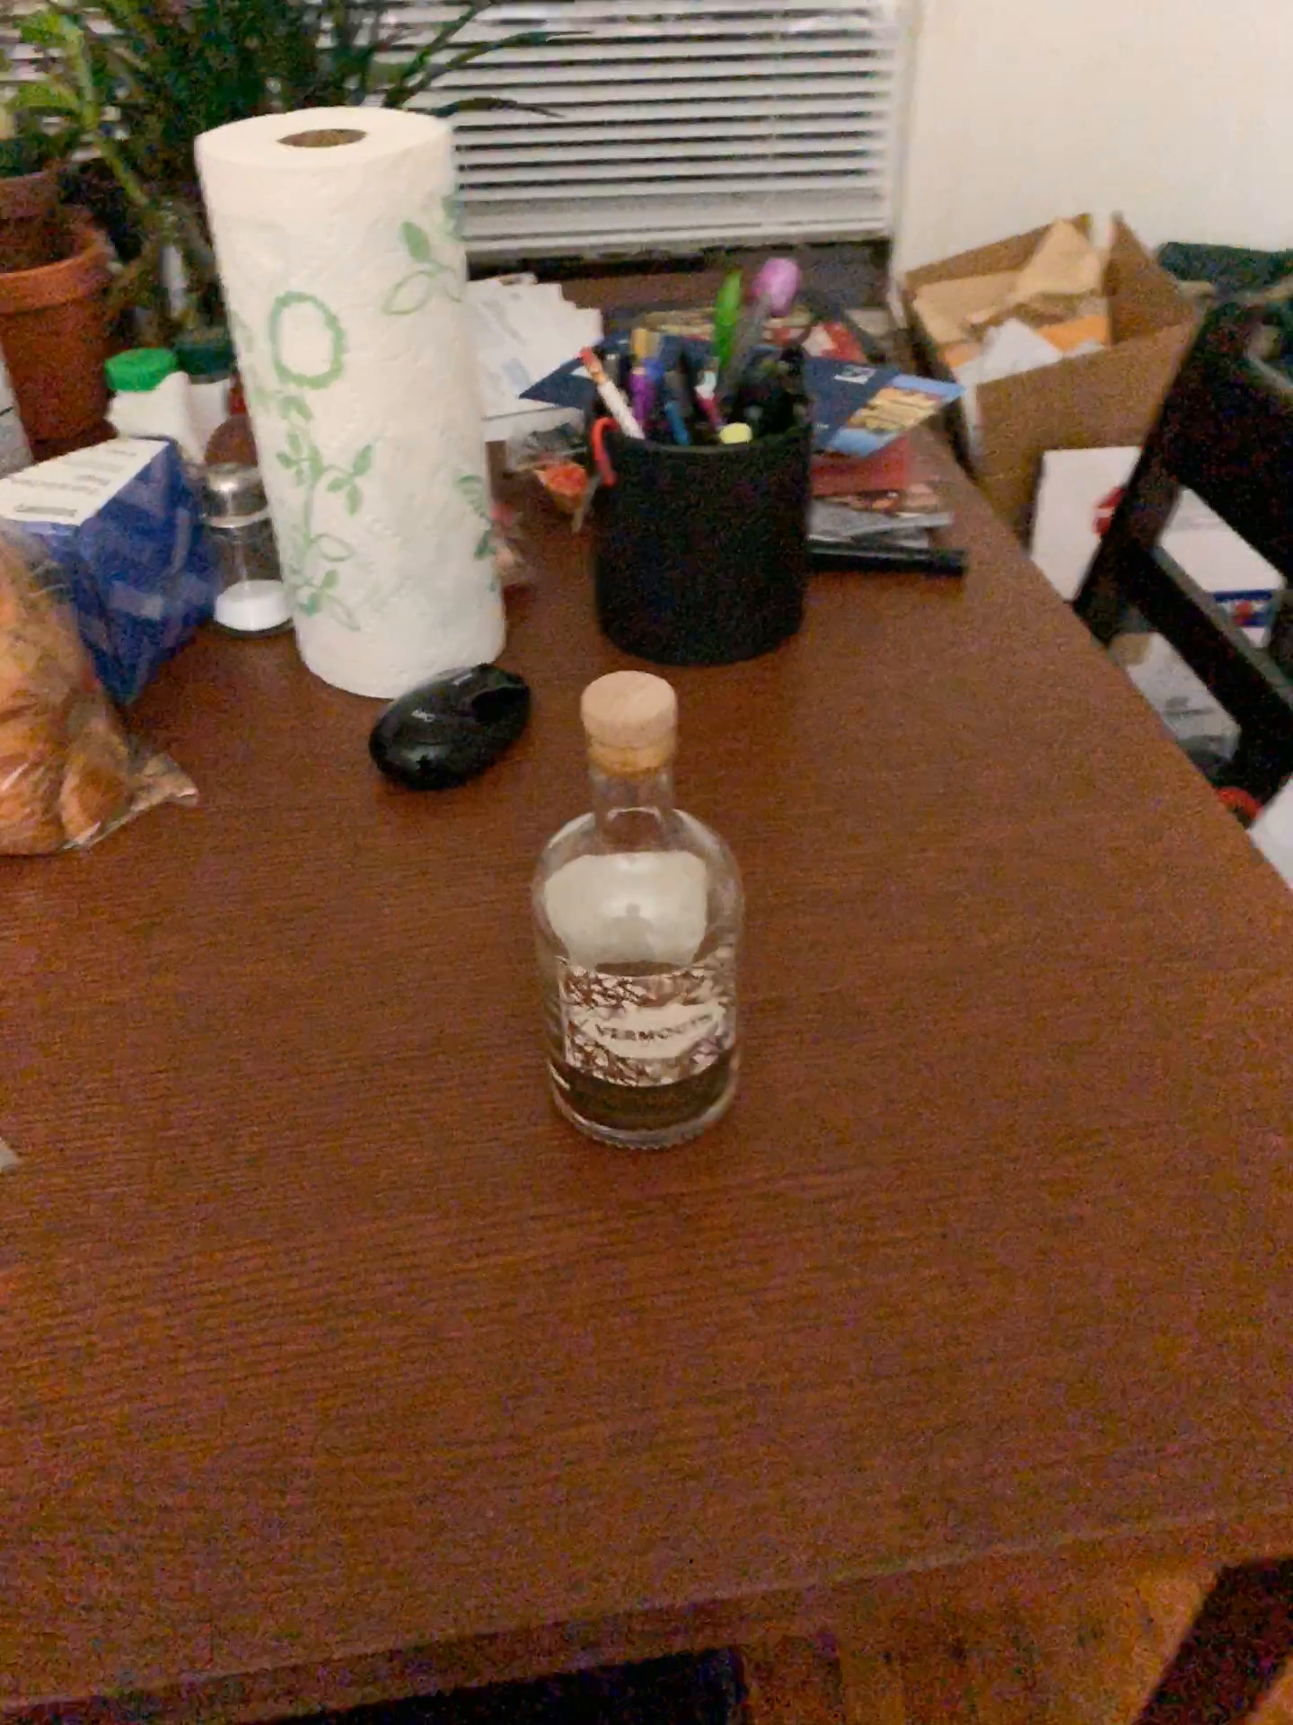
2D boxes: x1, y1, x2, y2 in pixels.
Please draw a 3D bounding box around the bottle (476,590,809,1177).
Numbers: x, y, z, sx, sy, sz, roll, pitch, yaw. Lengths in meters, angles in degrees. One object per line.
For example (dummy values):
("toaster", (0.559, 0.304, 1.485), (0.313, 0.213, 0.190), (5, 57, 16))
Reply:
("bottle", (-0.002, 0.013, 0.471), (0.090, 0.189, 0.080), (-8, 40, -7))
